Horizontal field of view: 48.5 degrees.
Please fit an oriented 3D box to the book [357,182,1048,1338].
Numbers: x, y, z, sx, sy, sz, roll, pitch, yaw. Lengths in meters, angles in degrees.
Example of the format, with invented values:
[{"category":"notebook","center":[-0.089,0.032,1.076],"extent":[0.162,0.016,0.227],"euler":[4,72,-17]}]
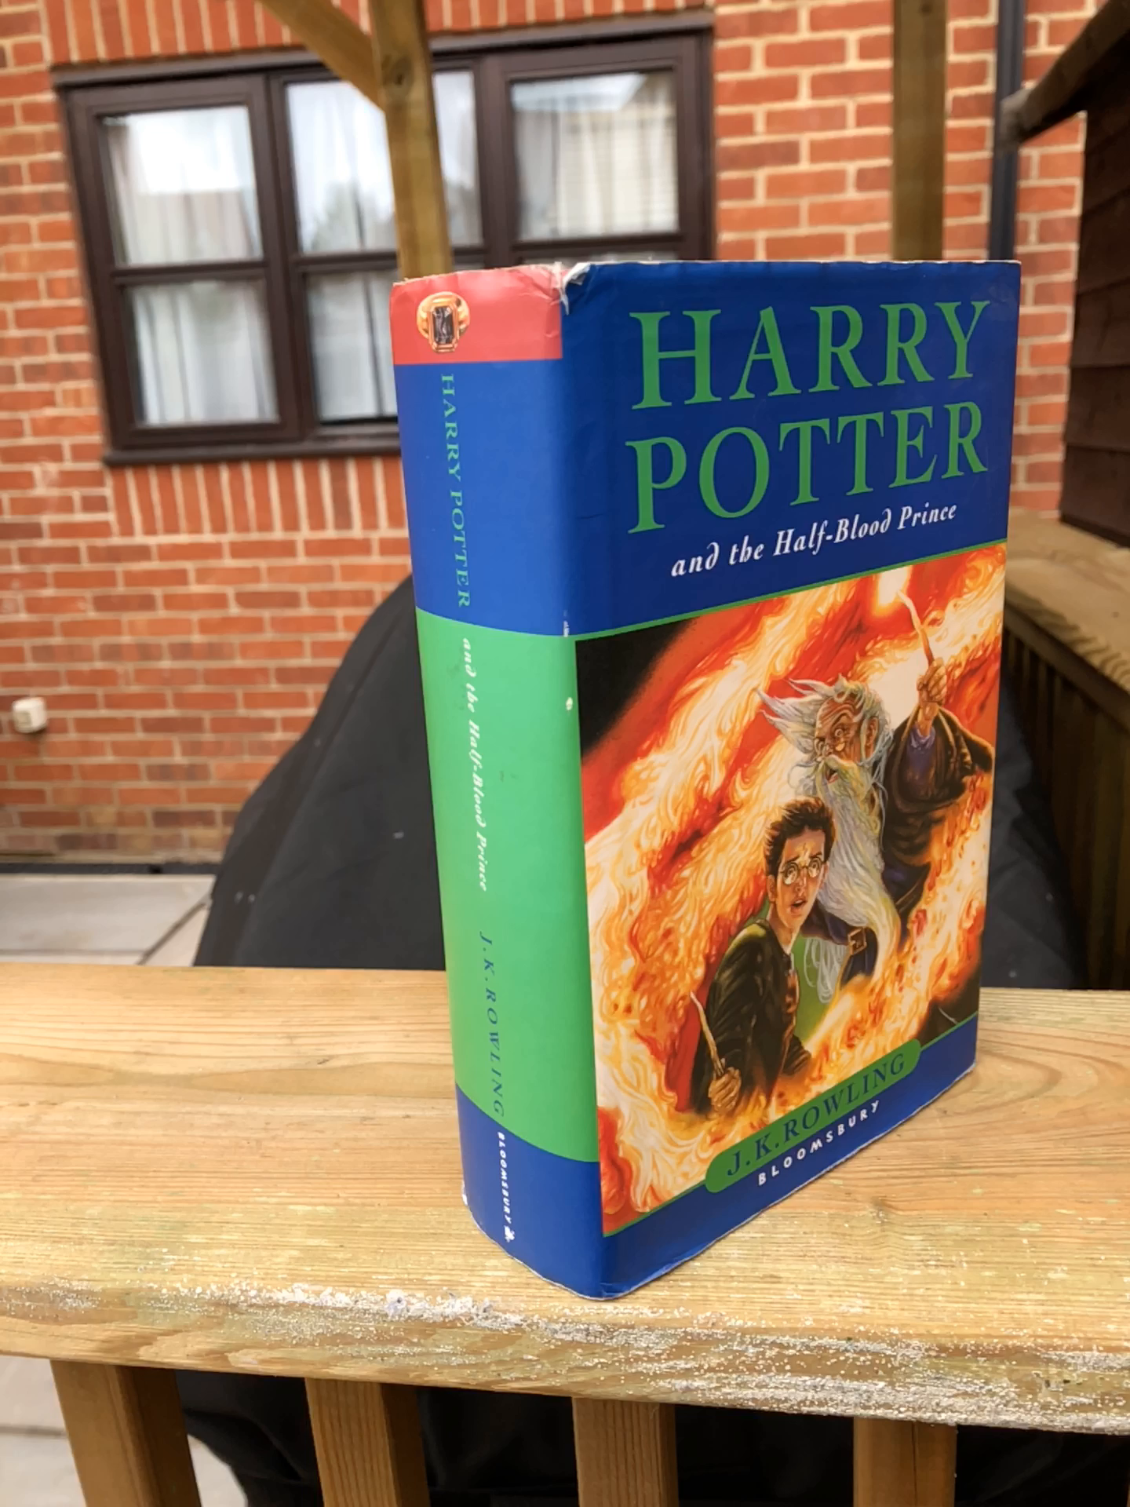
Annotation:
[{"category":"book","center":[0.037,-0.006,0.284],"extent":[0.140,0.209,0.060],"euler":[-14,20,-38]}]
